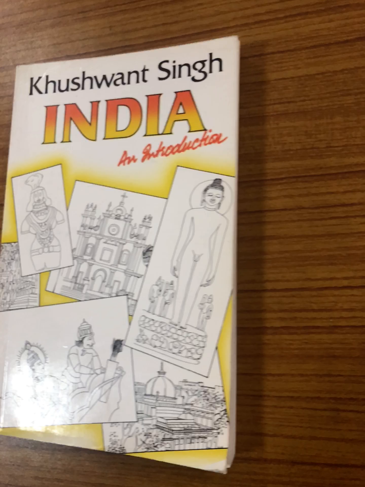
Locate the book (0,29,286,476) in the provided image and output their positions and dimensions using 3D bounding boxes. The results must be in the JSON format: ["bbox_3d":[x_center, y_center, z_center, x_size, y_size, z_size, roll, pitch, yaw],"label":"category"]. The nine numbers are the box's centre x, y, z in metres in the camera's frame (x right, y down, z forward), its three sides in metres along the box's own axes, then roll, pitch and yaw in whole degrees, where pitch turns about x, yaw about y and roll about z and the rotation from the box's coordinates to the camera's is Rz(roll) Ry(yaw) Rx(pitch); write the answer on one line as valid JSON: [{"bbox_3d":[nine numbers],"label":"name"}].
[{"bbox_3d":[-0.022,-0.002,0.201,0.140,0.020,0.190,0,82,14],"label":"book"}]
